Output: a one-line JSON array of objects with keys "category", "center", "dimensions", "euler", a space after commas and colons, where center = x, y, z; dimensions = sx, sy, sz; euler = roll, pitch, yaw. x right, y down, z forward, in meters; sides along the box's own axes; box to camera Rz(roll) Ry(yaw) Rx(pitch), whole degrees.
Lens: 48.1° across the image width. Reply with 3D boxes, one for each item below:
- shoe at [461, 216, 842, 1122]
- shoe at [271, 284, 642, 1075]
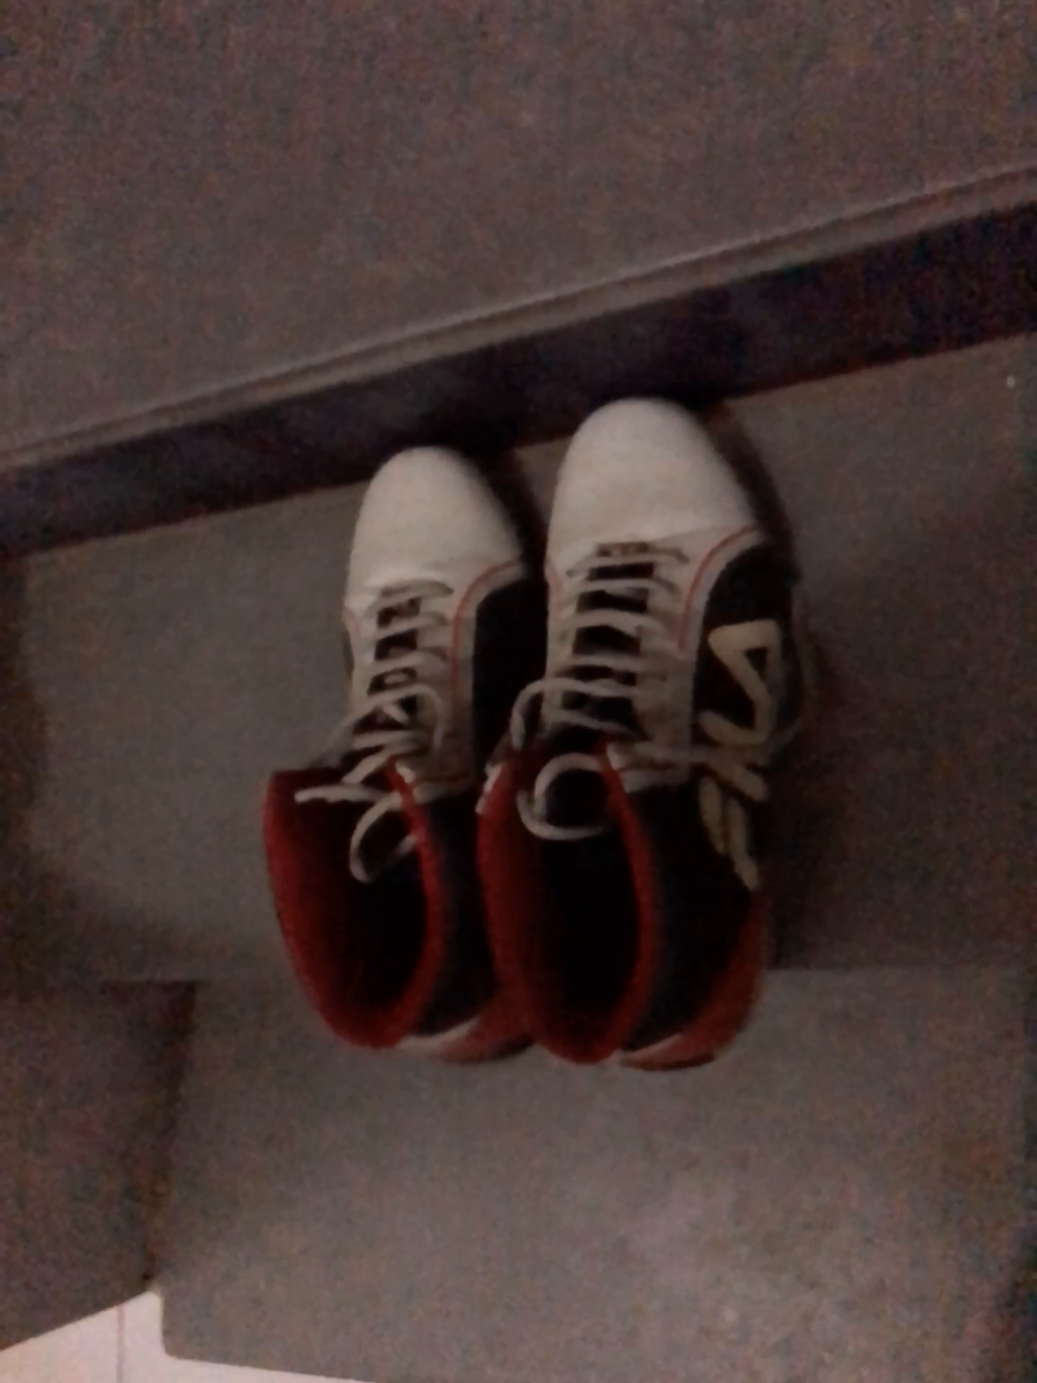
[{"category": "shoe", "center": [0.050, -0.005, 0.455], "dimensions": [0.110, 0.100, 0.310], "euler": [-6, 77, 24]}, {"category": "shoe", "center": [-0.028, 0.002, 0.519], "dimensions": [0.110, 0.120, 0.310], "euler": [-9, 76, 24]}]
